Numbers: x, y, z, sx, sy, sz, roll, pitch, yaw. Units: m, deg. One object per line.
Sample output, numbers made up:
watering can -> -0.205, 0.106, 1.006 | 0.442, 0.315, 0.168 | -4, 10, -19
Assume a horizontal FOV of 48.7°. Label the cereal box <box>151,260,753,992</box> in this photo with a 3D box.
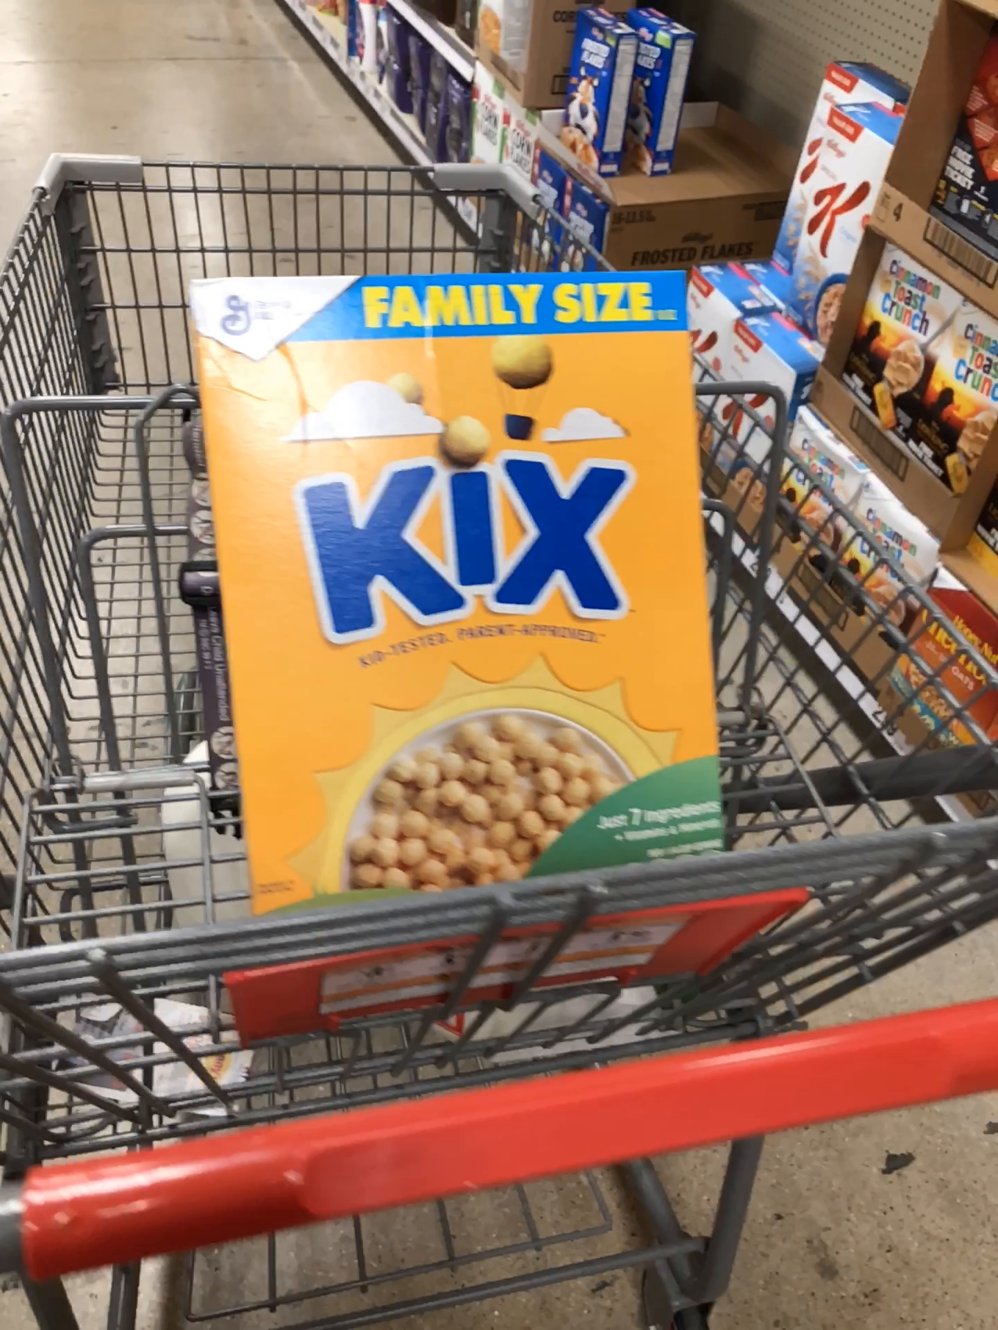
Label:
cereal box -> -0.019, -0.026, 0.549 | 0.260, 0.320, 0.070 | -6, 5, -14
